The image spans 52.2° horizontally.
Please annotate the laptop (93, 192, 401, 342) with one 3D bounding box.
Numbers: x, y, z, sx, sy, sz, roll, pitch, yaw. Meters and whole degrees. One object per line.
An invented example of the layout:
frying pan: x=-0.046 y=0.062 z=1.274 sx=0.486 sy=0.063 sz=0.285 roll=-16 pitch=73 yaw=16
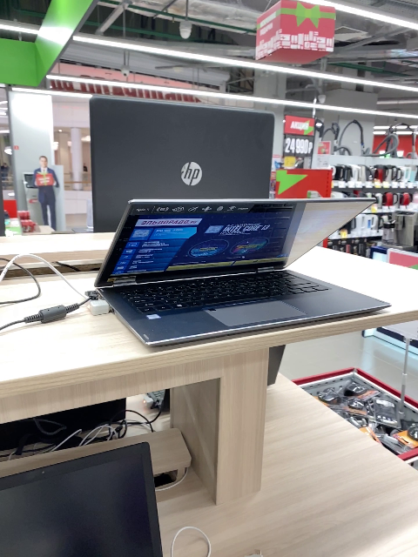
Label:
laptop: x=0.037 y=-0.040 z=0.552 sx=0.320 sy=0.128 sz=0.217 roll=-5 pitch=15 yaw=-26
